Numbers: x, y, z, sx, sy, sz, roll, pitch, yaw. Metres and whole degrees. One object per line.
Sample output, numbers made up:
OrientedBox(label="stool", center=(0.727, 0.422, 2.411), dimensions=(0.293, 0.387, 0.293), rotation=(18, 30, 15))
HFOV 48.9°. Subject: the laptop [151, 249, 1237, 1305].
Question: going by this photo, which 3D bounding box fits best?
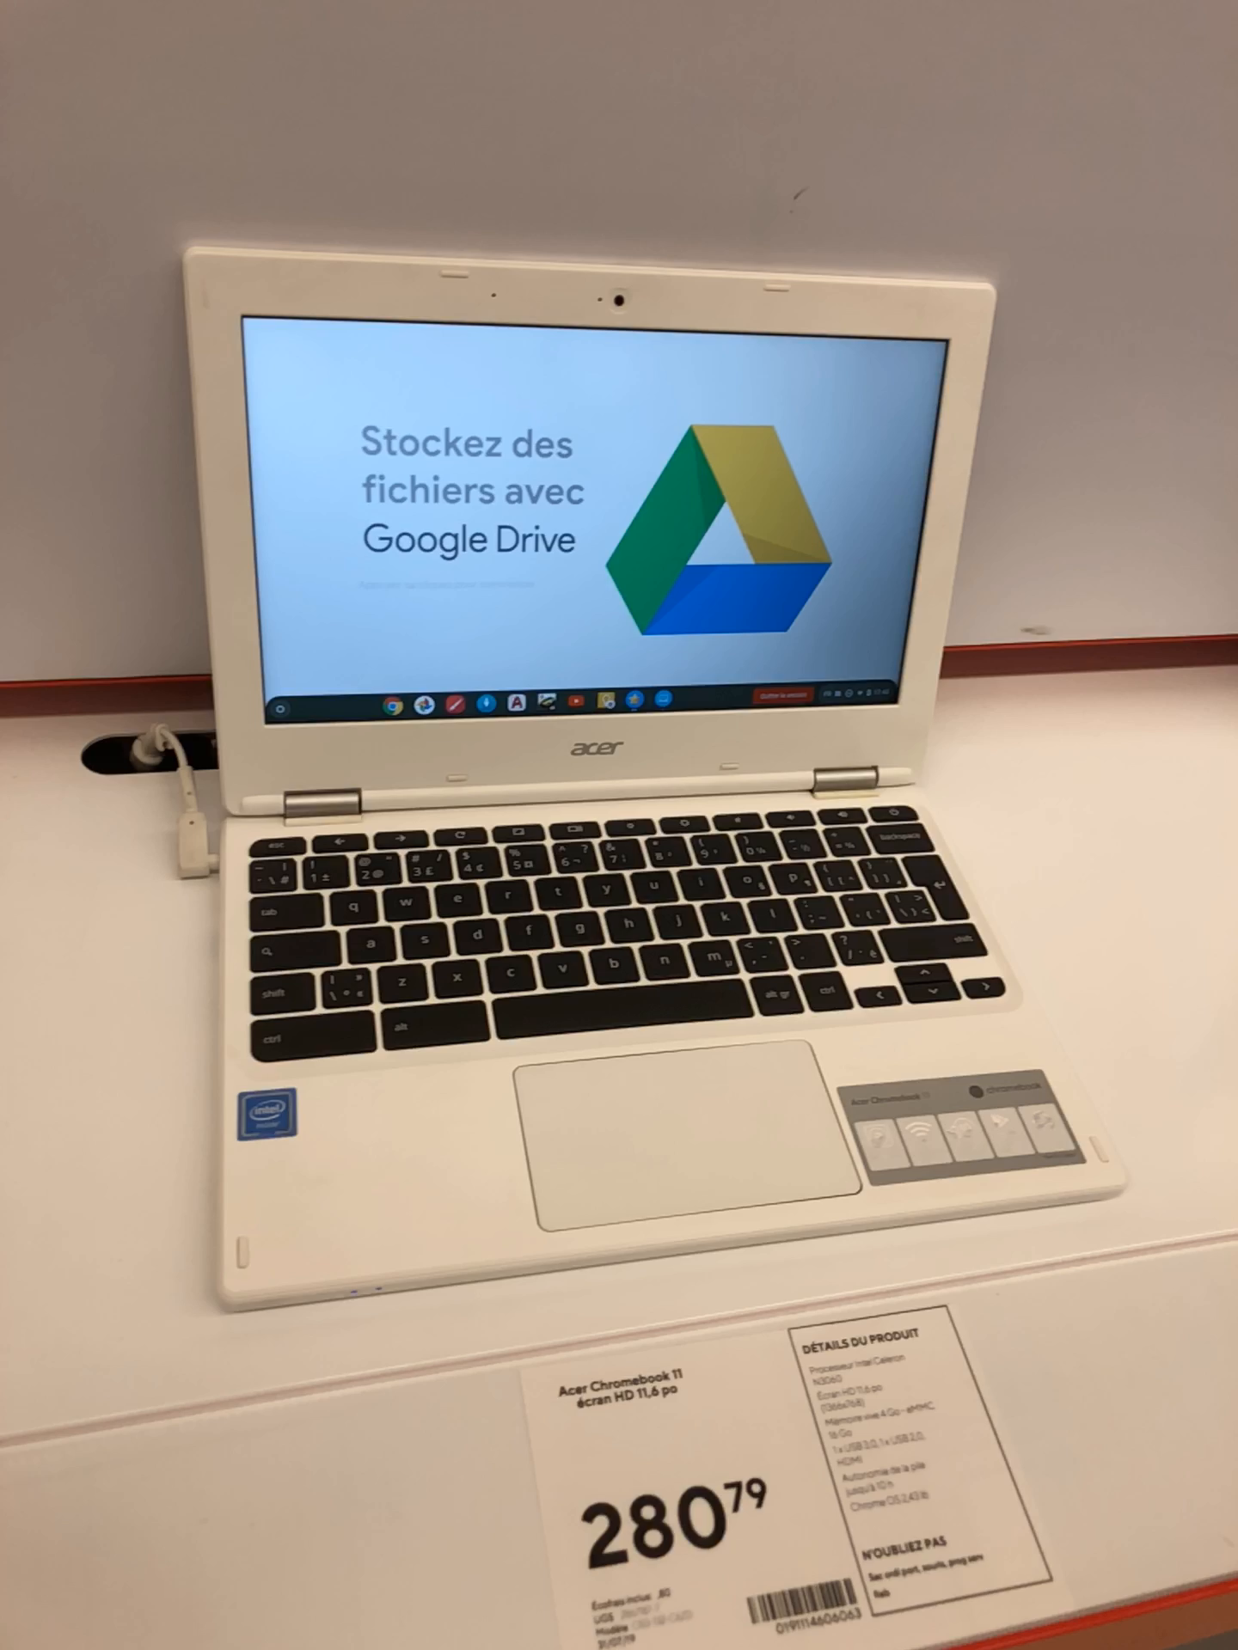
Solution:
OrientedBox(label="laptop", center=(0.013, -0.032, 0.438), dimensions=(0.282, 0.188, 0.260), rotation=(-3, 45, -13))
